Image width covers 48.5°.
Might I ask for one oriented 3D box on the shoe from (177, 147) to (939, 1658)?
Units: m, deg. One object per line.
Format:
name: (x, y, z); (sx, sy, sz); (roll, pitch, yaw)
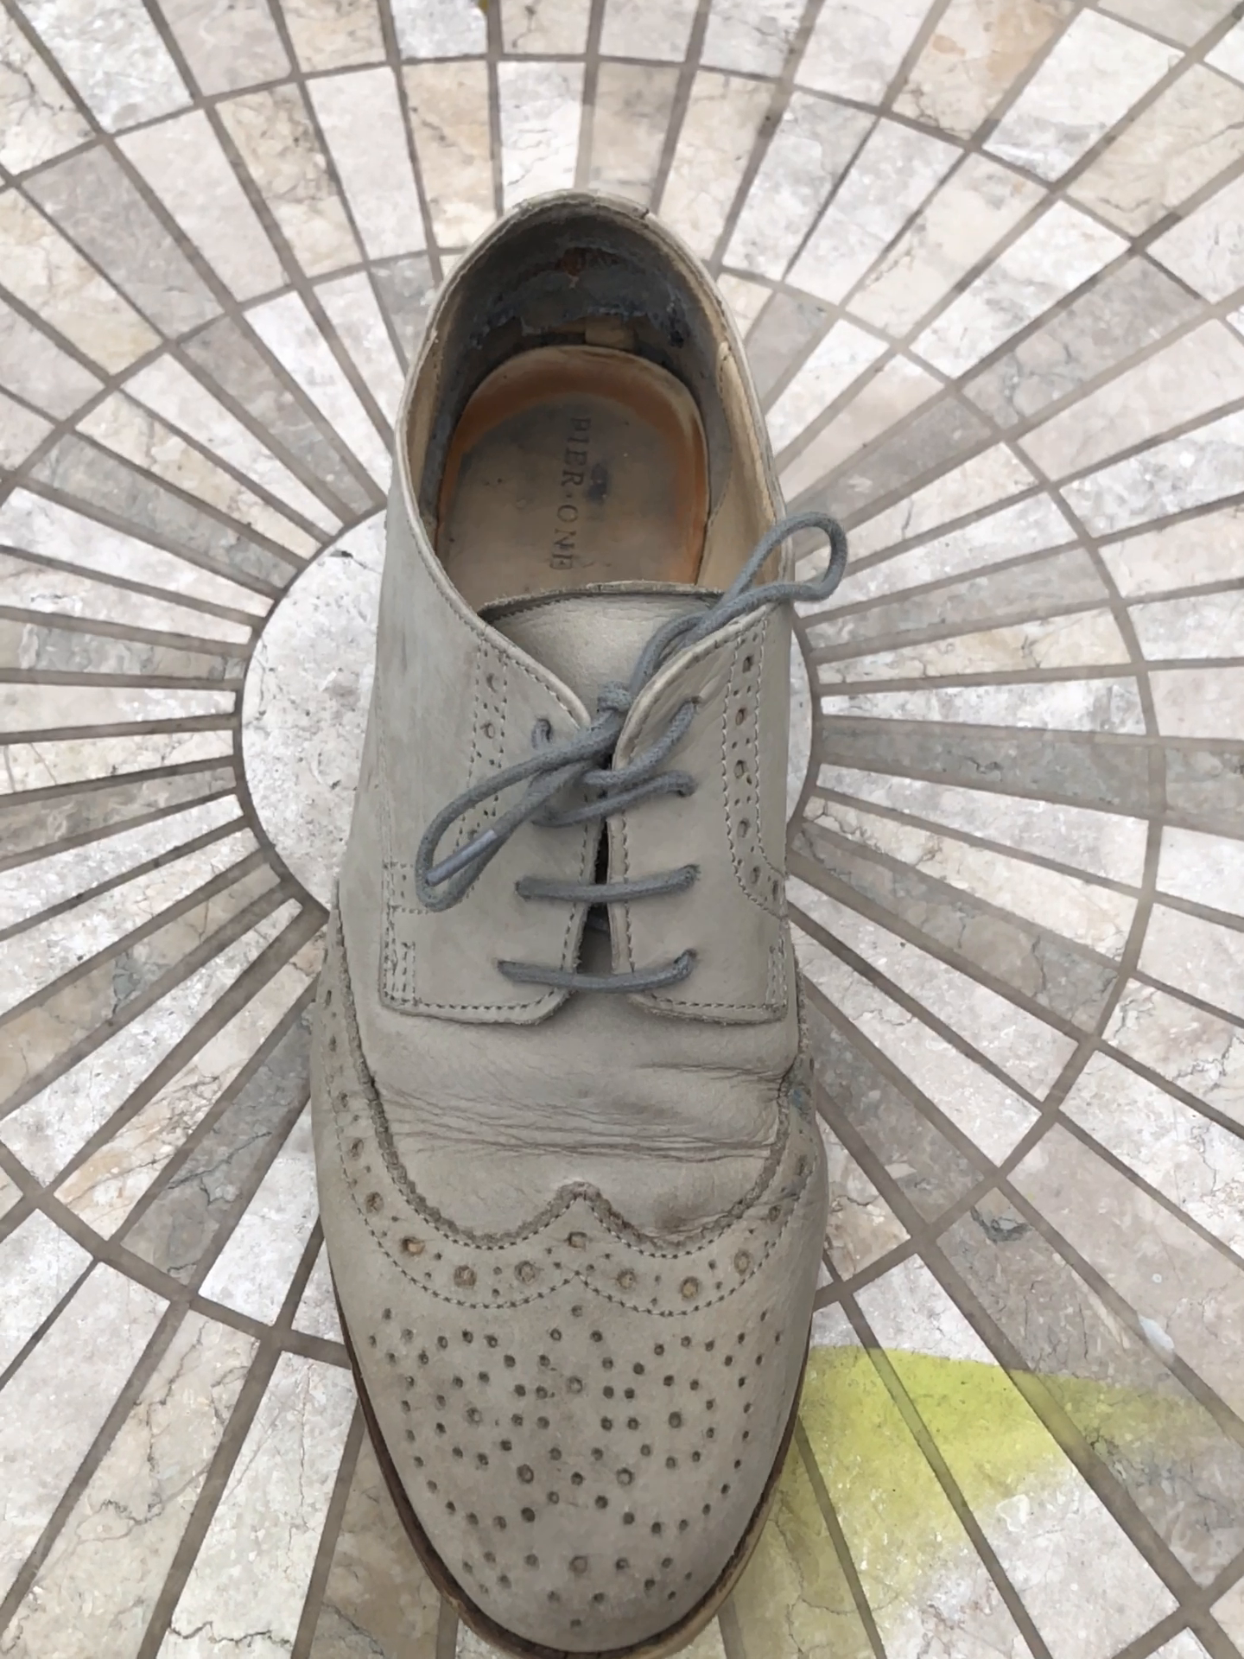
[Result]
shoe: (-0.009, 0.003, 0.250); (0.090, 0.079, 0.257); (0, 67, -1)
